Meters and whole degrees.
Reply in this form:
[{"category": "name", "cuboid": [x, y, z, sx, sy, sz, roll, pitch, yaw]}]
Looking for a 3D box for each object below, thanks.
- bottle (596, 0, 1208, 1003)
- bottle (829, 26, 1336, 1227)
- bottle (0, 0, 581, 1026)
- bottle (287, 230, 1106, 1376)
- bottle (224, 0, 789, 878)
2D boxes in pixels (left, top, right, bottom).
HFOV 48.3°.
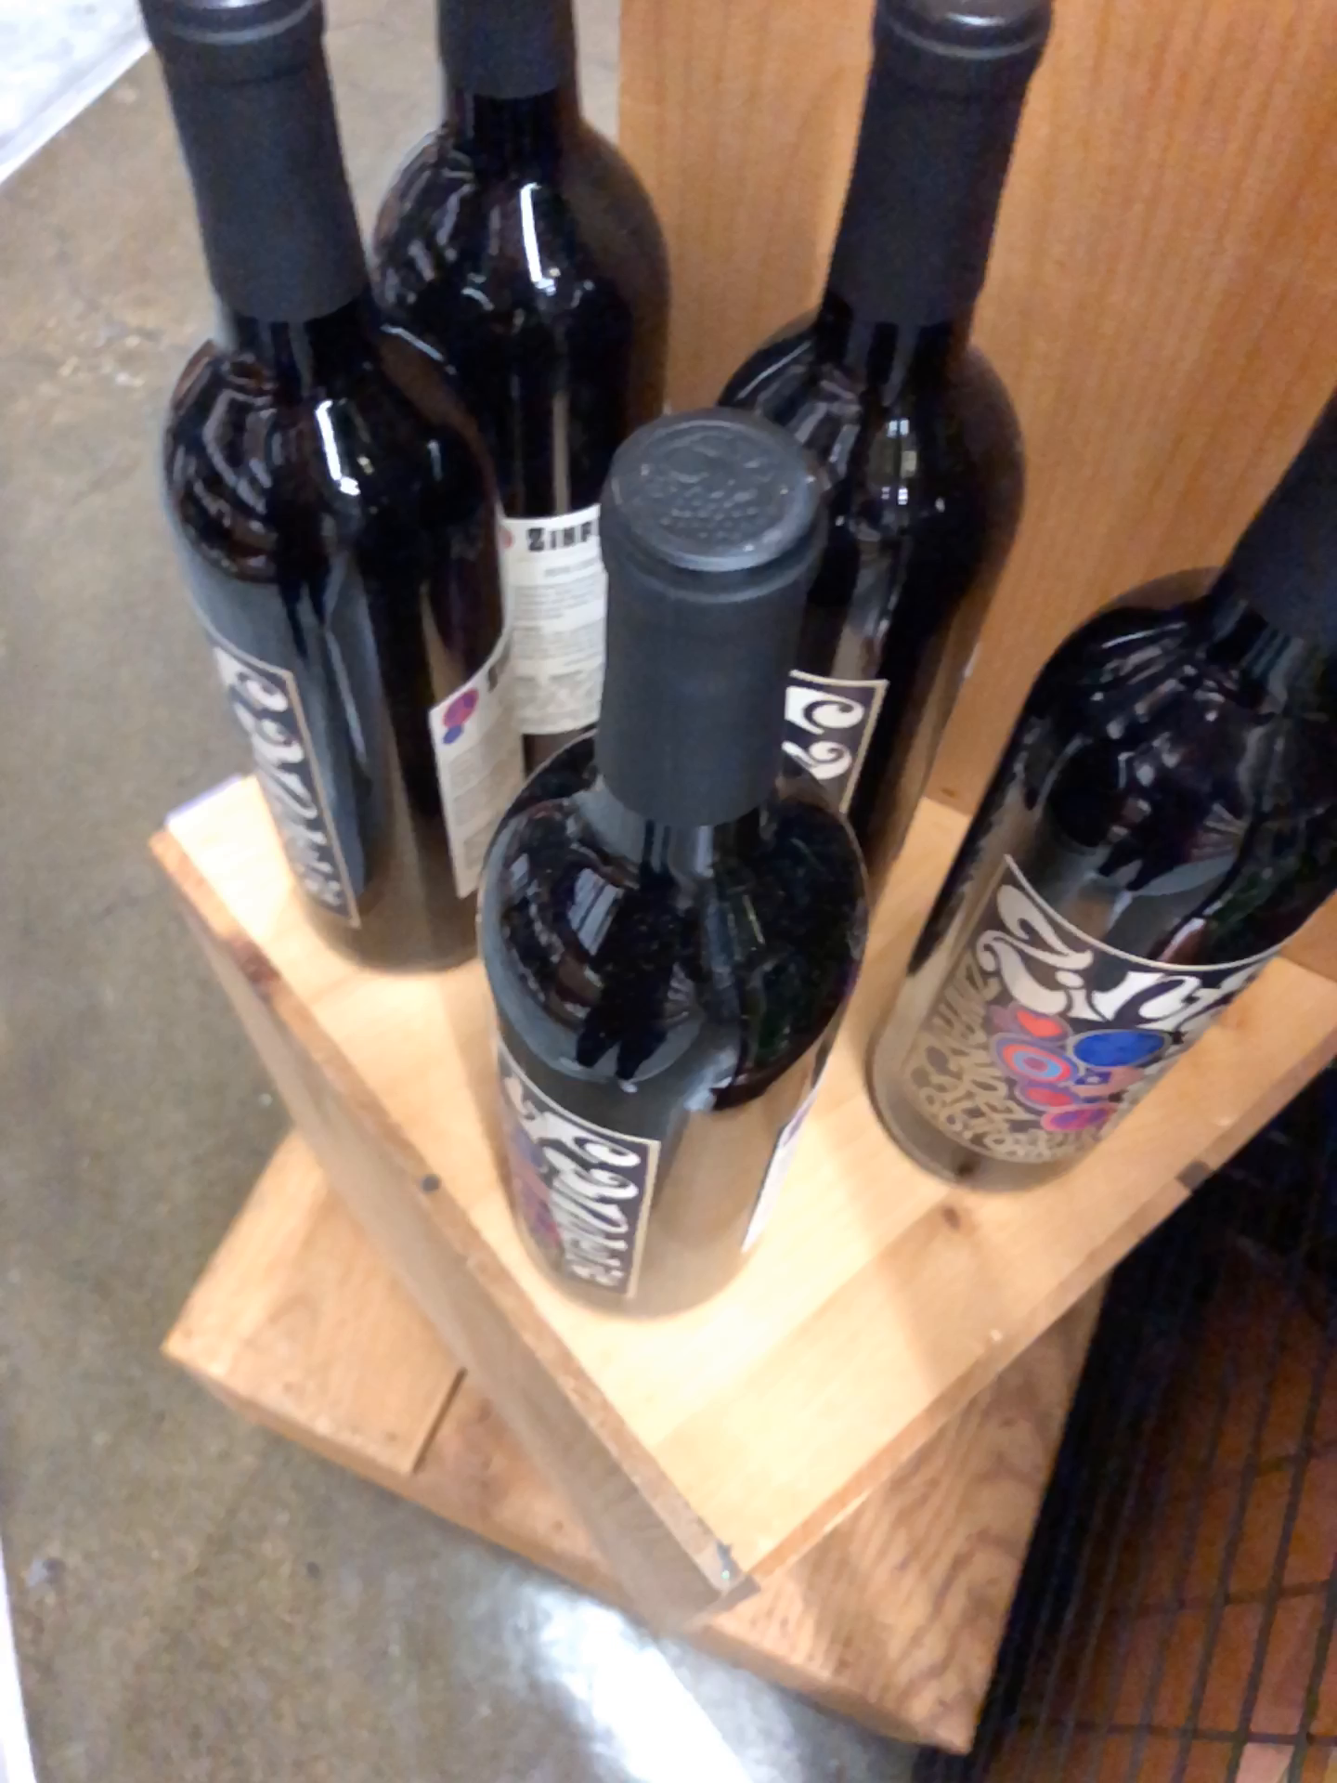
[{"category": "bottle", "cuboid": [0.033, -0.074, 0.350, 0.080, 0.275, 0.077, 1, 62, -2]}, {"category": "bottle", "cuboid": [0.106, -0.014, 0.339, 0.080, 0.311, 0.077, 1, 62, -2]}, {"category": "bottle", "cuboid": [-0.077, -0.077, 0.369, 0.077, 0.305, 0.080, 1, 62, -3]}, {"category": "bottle", "cuboid": [-0.004, 0.021, 0.306, 0.070, 0.287, 0.073, 1, 62, -2]}, {"category": "bottle", "cuboid": [-0.035, -0.110, 0.362, 0.080, 0.281, 0.077, 1, 62, -2]}]
